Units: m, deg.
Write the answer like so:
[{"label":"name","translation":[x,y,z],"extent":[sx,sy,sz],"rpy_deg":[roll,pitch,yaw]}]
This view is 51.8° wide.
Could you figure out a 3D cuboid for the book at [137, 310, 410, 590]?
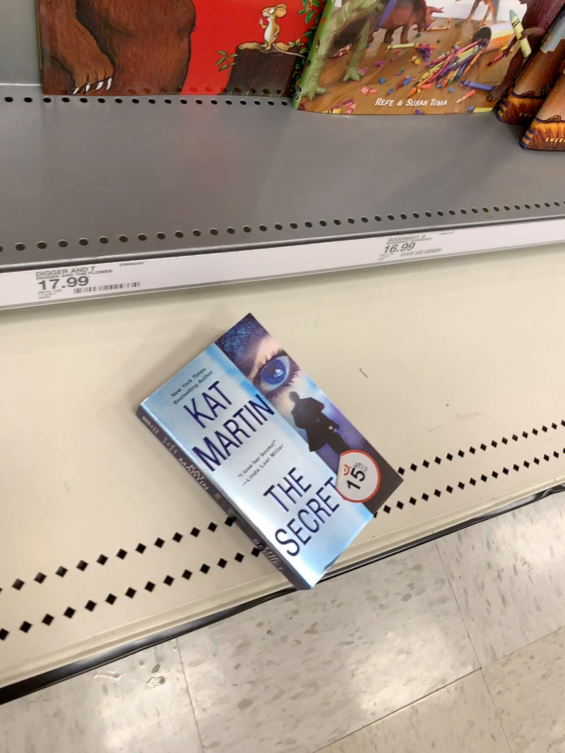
[{"label":"book","translation":[-0.006,0.050,0.414],"extent":[0.164,0.040,0.105],"rpy_deg":[47,66,1]}]
